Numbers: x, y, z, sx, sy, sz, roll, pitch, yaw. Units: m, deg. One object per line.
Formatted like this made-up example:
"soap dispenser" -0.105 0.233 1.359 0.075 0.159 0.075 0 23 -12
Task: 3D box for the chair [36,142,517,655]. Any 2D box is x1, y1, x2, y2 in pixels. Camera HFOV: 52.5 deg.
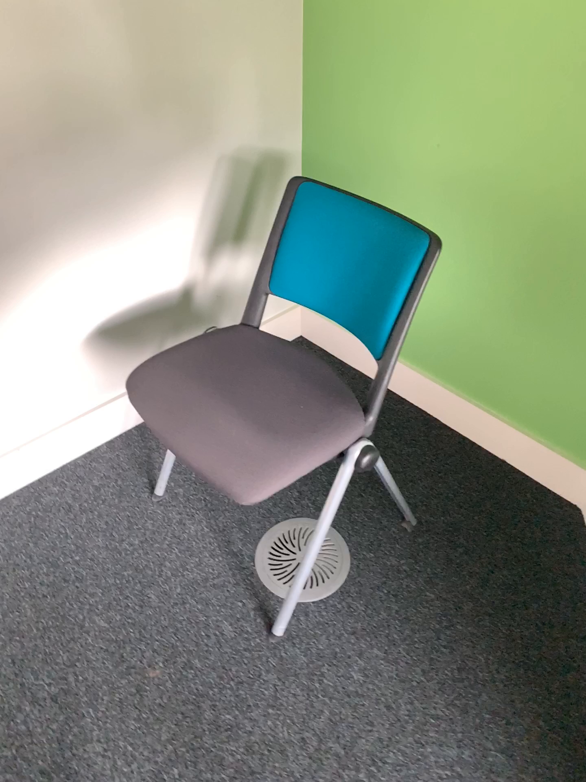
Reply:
"chair" -0.039 -0.026 1.197 0.552 0.663 0.584 -30 49 -31
